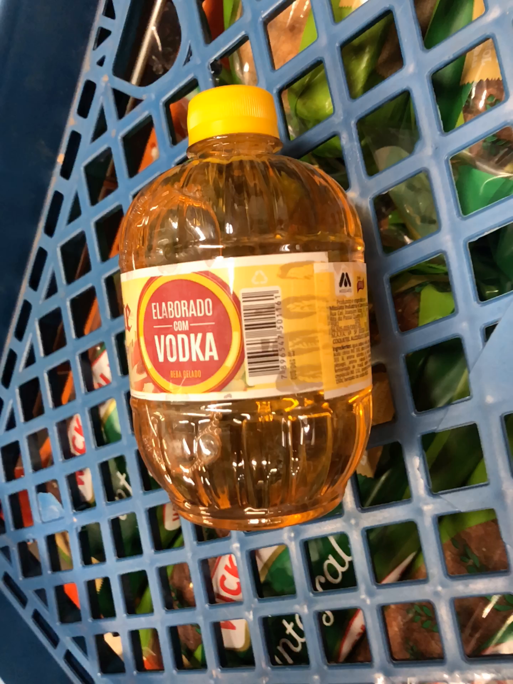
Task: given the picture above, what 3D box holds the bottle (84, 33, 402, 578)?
[{"bbox_3d":[-0.010,-0.012,0.186,0.080,0.070,0.130,-173,78,-69],"label":"bottle"}]
